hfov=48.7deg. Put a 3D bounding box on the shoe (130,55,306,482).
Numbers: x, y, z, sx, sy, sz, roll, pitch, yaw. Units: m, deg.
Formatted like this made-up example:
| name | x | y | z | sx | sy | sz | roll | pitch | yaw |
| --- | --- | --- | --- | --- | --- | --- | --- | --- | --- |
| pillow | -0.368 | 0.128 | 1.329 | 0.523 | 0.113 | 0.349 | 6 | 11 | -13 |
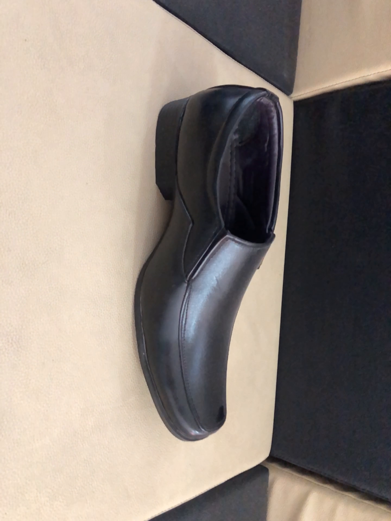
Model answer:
| name | x | y | z | sx | sy | sz | roll | pitch | yaw |
| --- | --- | --- | --- | --- | --- | --- | --- | --- | --- |
| shoe | 0.021 | 0.006 | 0.360 | 0.101 | 0.089 | 0.290 | 5 | 87 | -48 |
